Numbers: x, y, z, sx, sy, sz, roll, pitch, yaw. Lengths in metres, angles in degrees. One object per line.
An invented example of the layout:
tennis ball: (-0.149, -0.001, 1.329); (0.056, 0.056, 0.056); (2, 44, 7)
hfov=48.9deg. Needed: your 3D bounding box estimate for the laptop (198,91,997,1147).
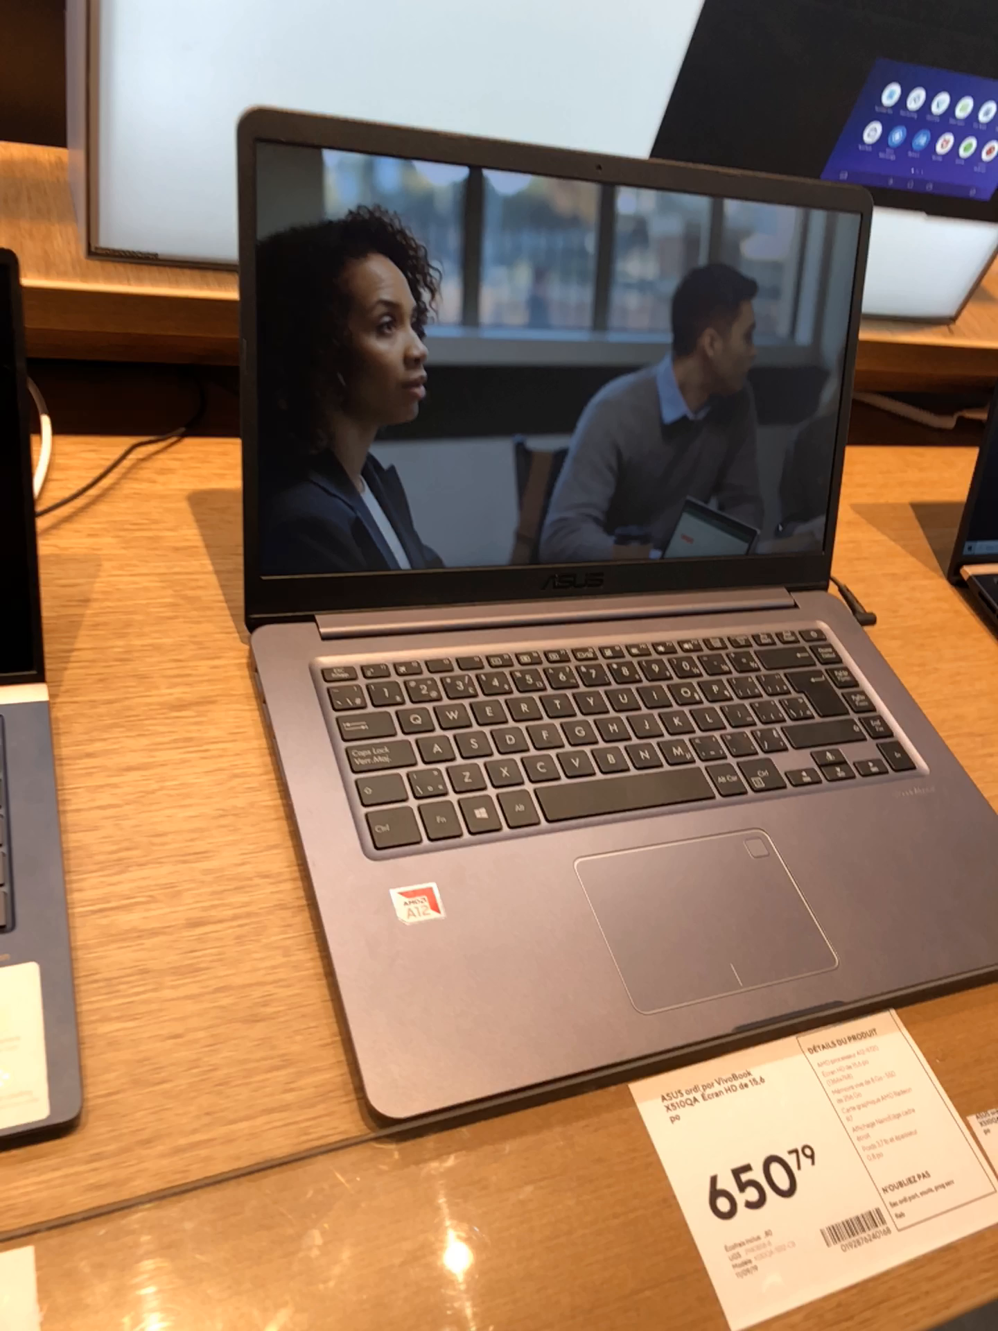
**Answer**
laptop: (0.082, -0.055, 0.500); (0.353, 0.177, 0.391); (-5, 51, -25)
